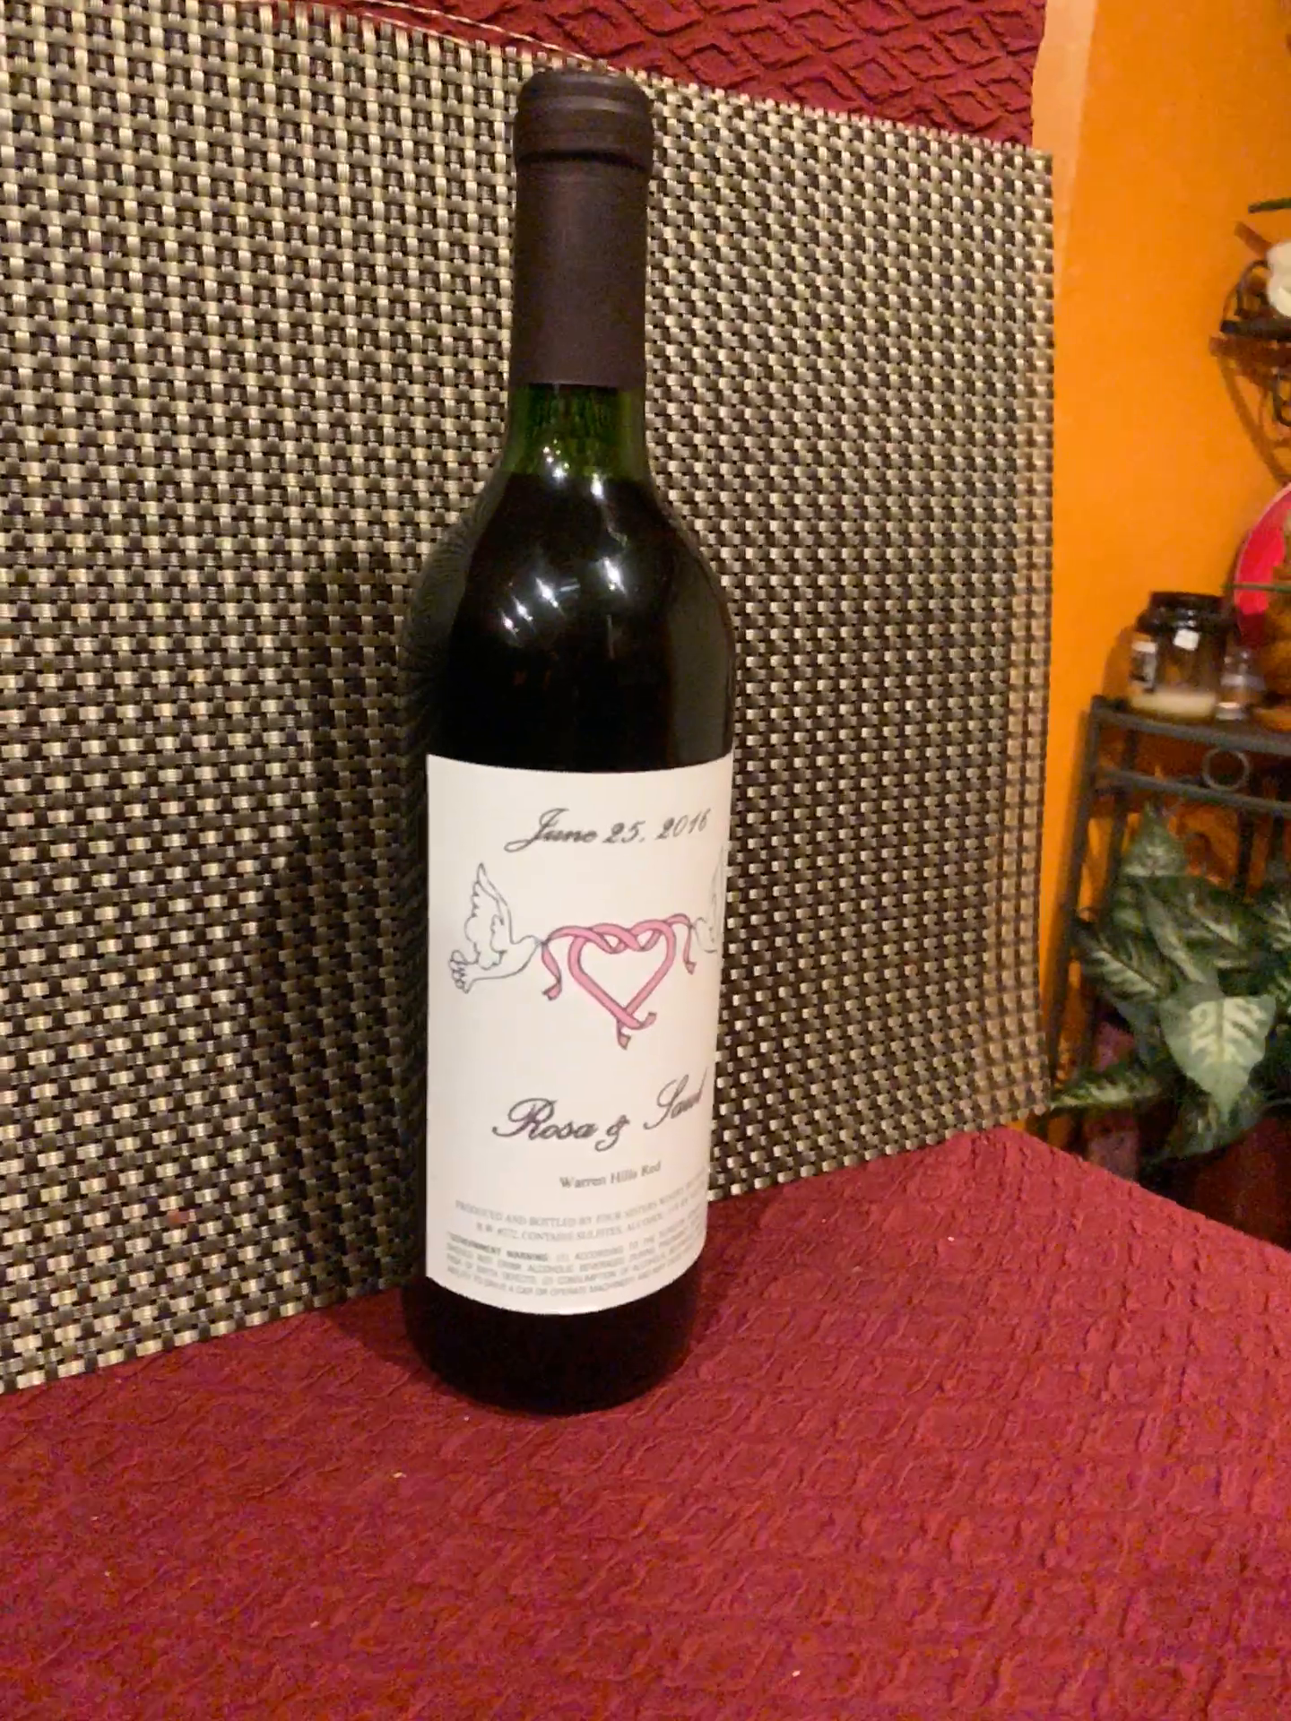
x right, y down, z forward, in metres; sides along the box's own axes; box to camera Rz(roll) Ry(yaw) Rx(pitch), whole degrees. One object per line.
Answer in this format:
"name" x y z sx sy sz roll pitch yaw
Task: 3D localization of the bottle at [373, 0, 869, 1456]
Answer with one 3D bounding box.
"bottle" -0.013 -0.018 0.300 0.080 0.289 0.060 -5 17 -25
